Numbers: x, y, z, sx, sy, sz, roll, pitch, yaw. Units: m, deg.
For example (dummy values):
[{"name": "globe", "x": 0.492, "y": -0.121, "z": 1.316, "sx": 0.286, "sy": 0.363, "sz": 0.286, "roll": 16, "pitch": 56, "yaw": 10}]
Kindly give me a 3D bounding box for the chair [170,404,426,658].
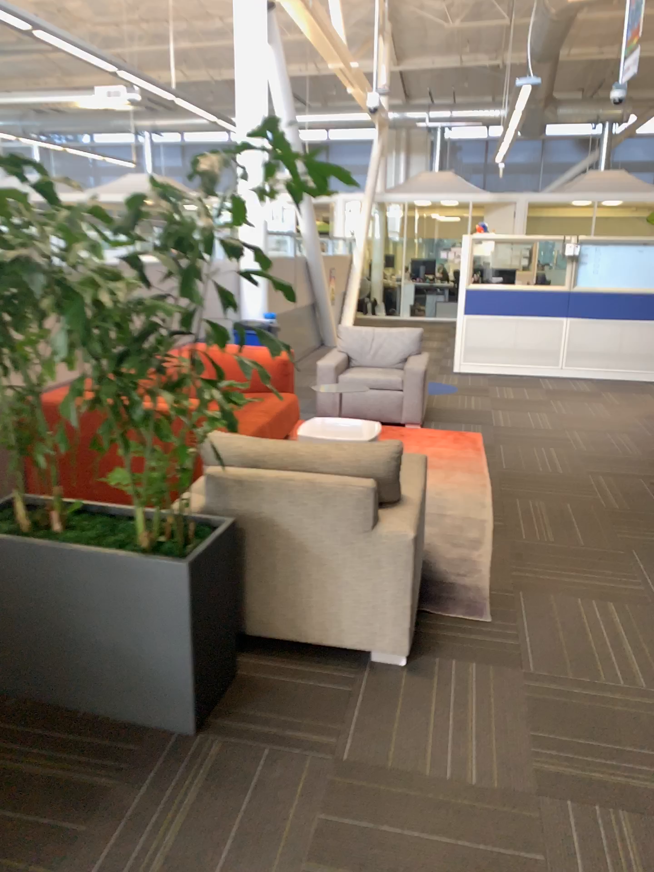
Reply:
[{"name": "chair", "x": -0.060, "y": 0.338, "z": 2.853, "sx": 0.920, "sy": 0.727, "sz": 0.873, "roll": 3, "pitch": 16, "yaw": 9}]
